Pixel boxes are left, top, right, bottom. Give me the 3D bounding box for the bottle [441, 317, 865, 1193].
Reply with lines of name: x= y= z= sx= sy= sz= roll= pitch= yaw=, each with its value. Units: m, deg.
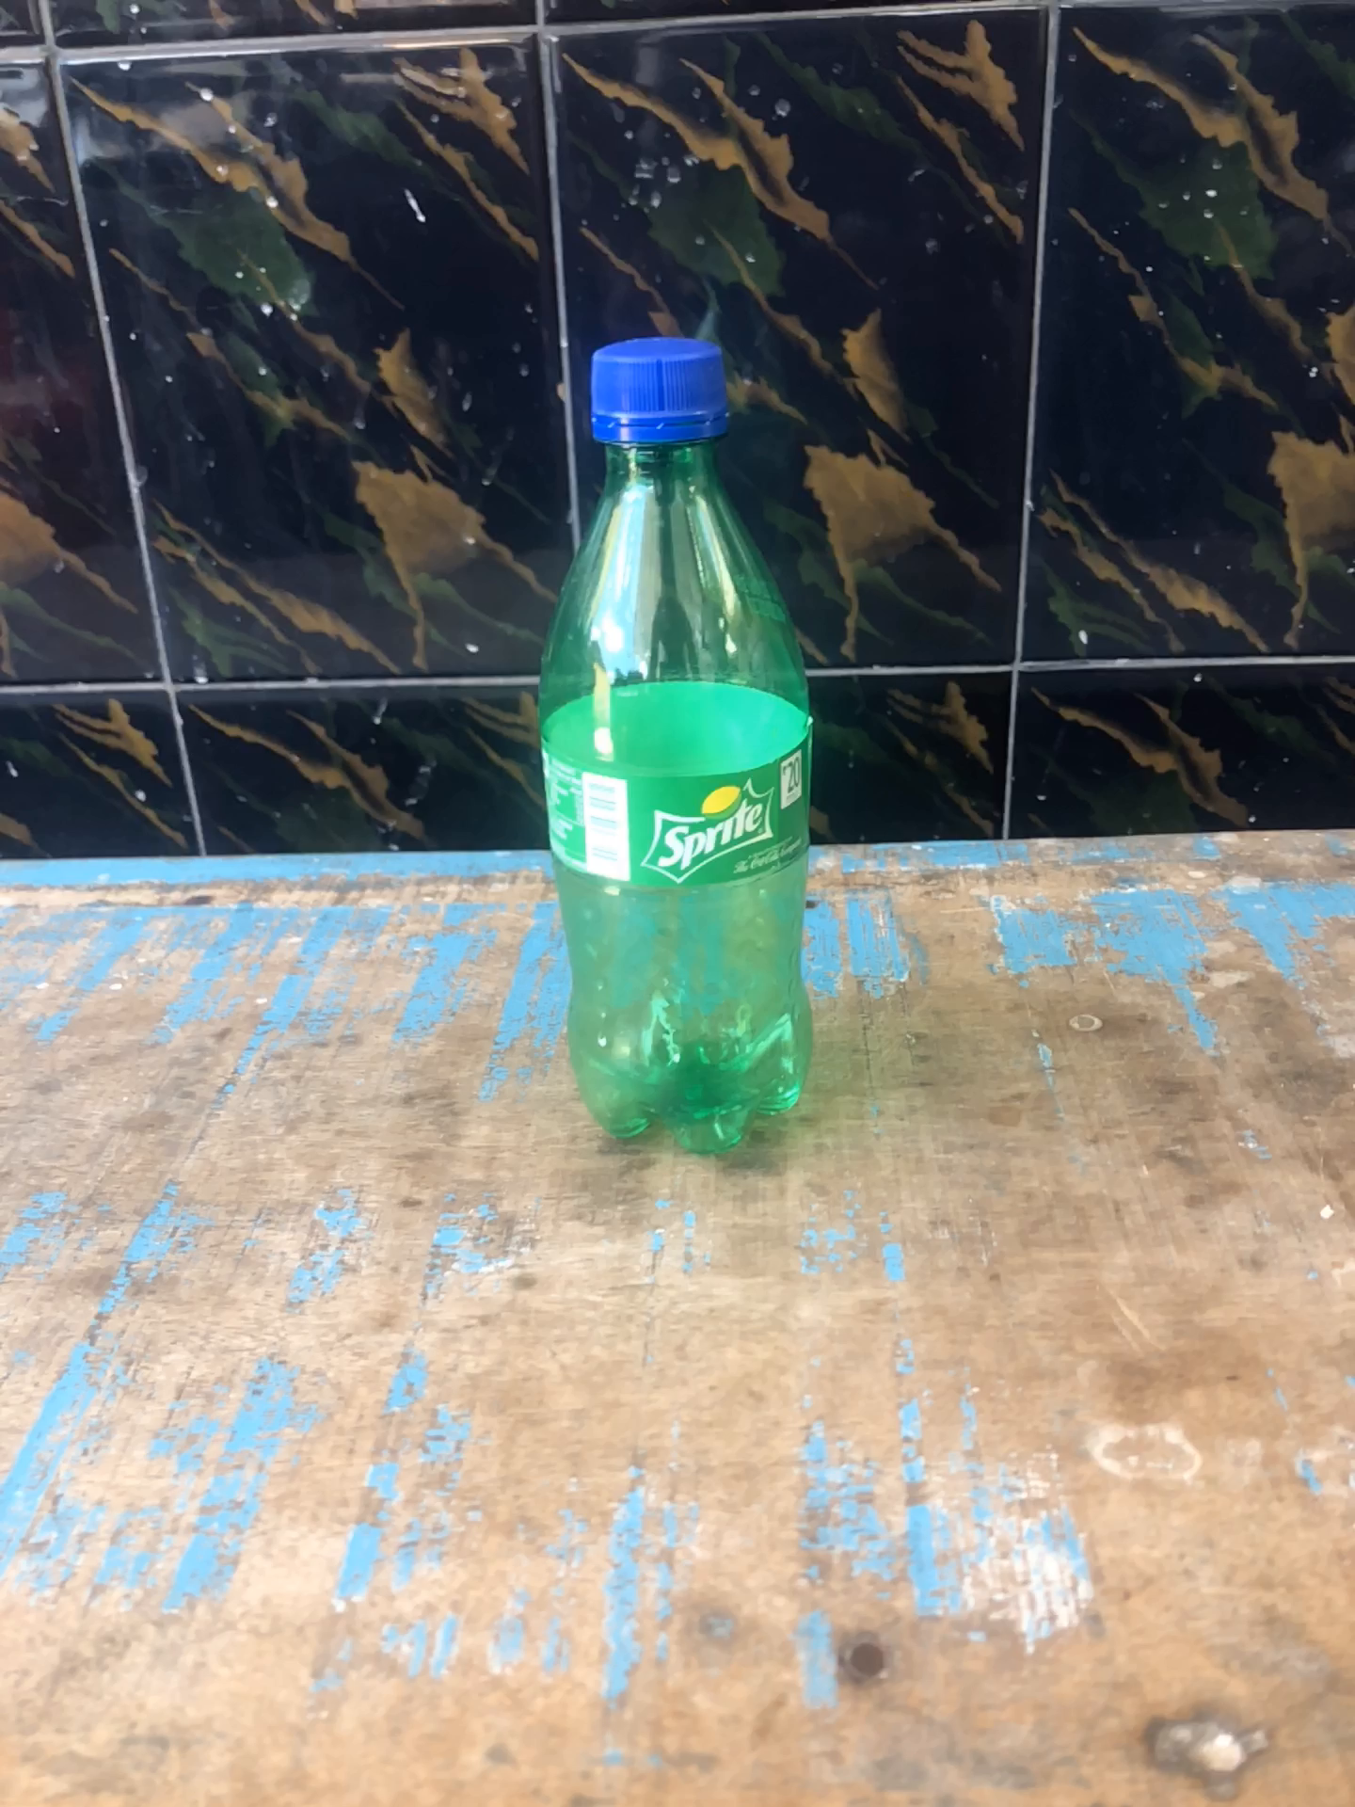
bottle: x=-0.002 y=-0.029 z=0.303 sx=0.060 sy=0.159 sz=0.050 roll=-15 pitch=28 yaw=-23
